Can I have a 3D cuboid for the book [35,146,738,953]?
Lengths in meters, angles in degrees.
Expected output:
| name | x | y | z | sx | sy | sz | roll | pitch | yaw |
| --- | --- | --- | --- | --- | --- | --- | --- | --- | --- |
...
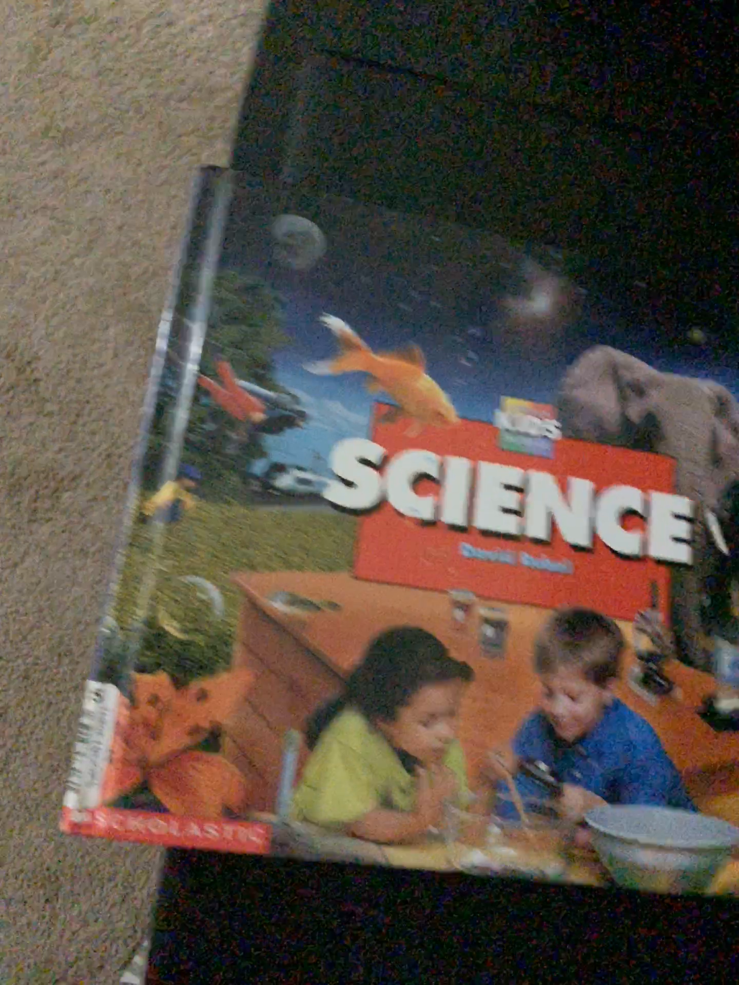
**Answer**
| name | x | y | z | sx | sy | sz | roll | pitch | yaw |
| --- | --- | --- | --- | --- | --- | --- | --- | --- | --- |
| book | 0.055 | 0.019 | 0.279 | 0.280 | 0.030 | 0.240 | 10 | 77 | -8 |
